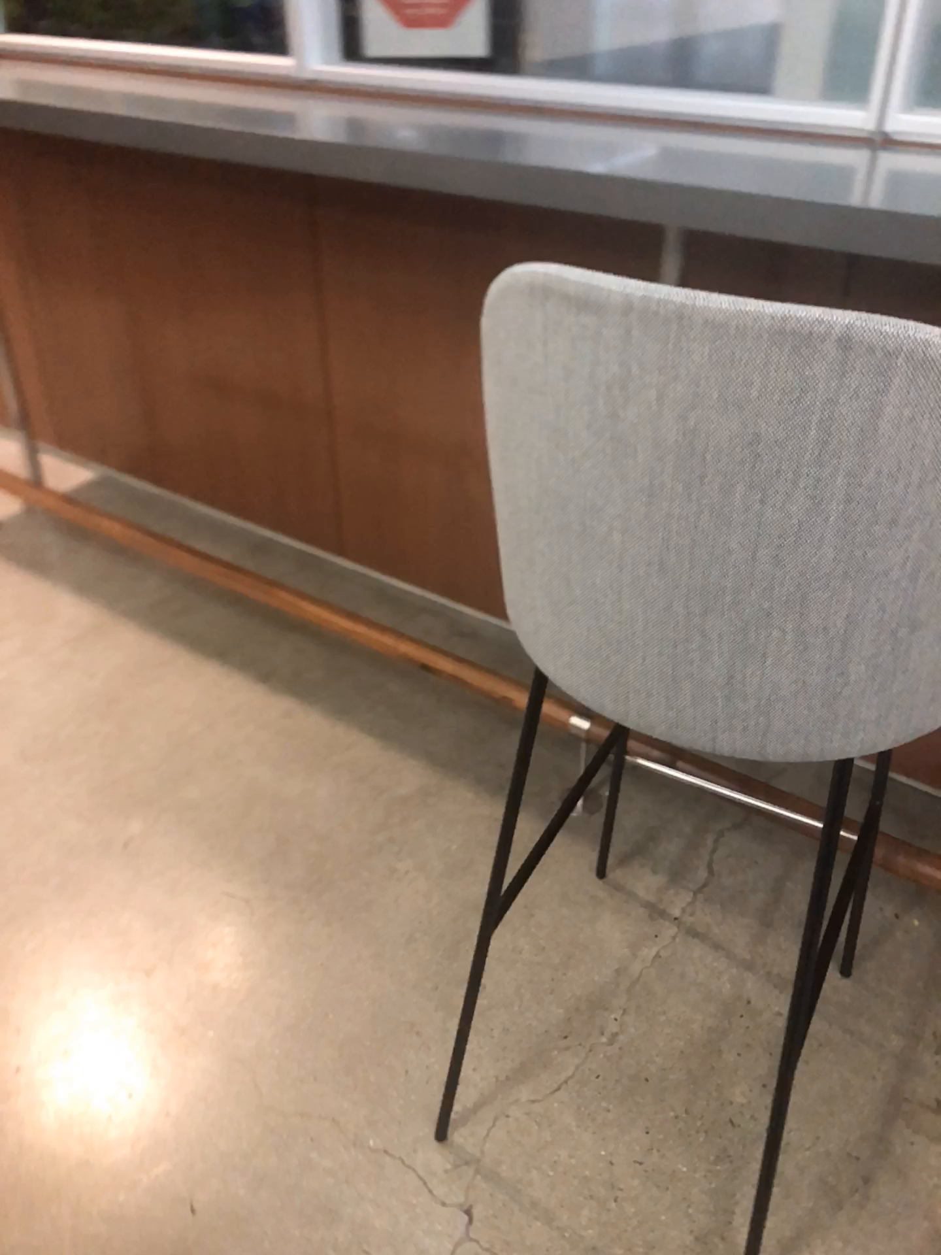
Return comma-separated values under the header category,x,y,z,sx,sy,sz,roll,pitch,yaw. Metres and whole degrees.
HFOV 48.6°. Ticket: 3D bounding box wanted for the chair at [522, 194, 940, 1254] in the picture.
category,x,y,z,sx,sy,sz,roll,pitch,yaw
chair,0.558,0.208,1.632,0.710,1.487,0.625,19,38,26
